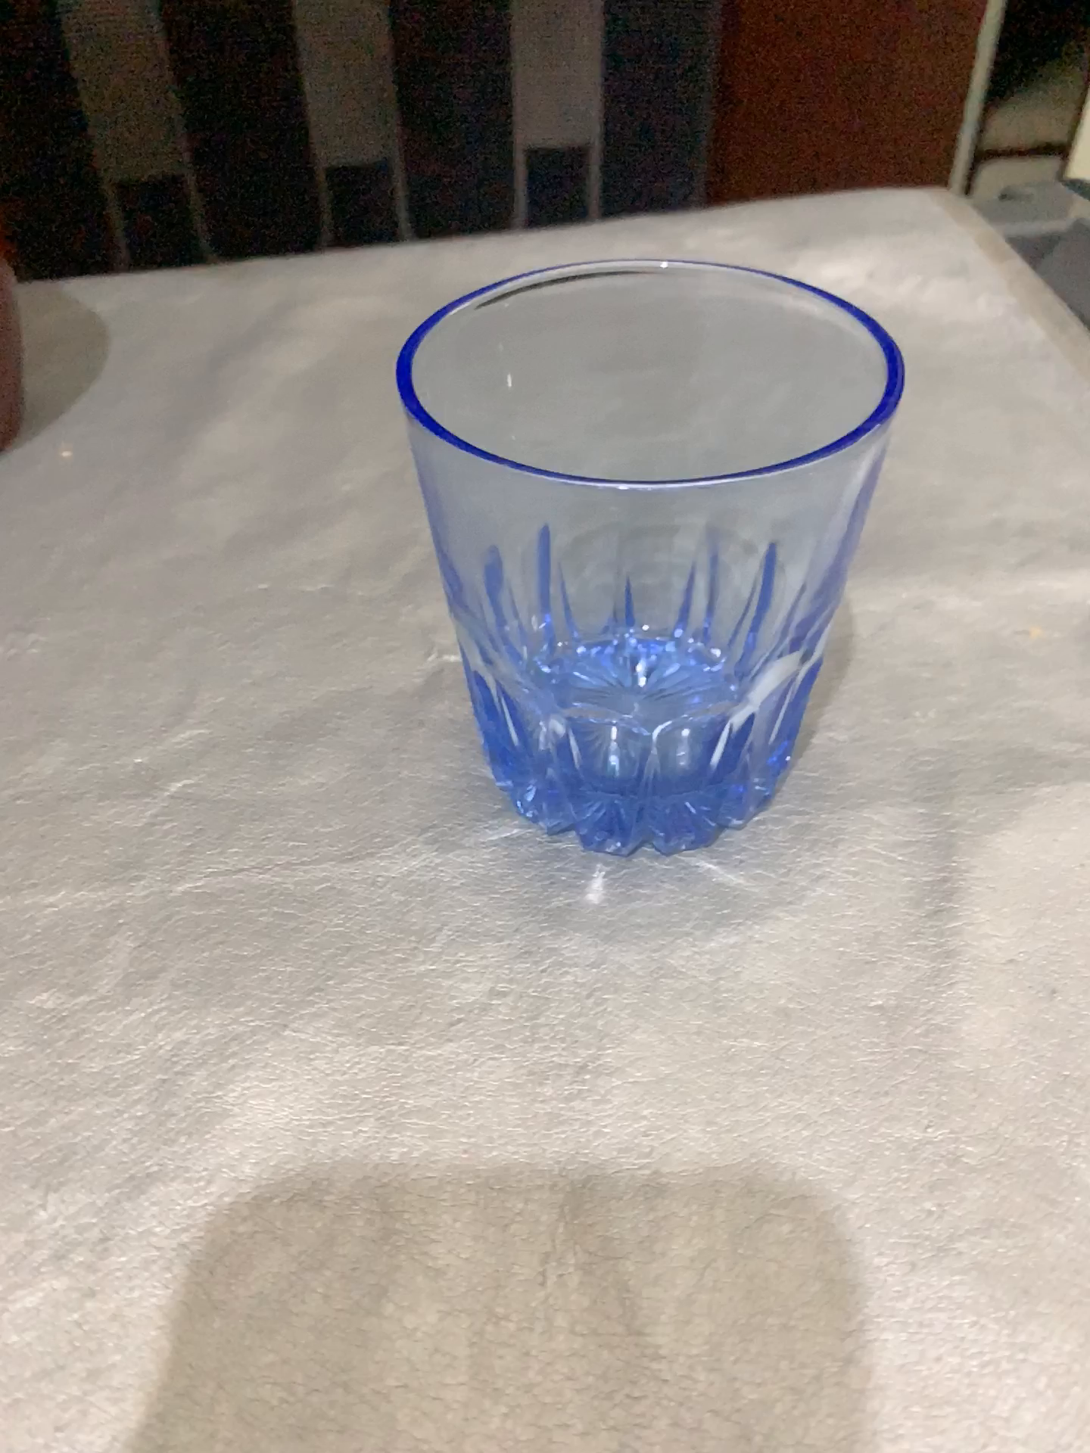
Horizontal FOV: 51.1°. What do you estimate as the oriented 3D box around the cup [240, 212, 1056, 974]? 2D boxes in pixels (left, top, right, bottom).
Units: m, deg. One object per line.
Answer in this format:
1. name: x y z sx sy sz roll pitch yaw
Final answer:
1. cup: 0.019 -0.030 0.195 0.090 0.070 0.090 0 42 0
